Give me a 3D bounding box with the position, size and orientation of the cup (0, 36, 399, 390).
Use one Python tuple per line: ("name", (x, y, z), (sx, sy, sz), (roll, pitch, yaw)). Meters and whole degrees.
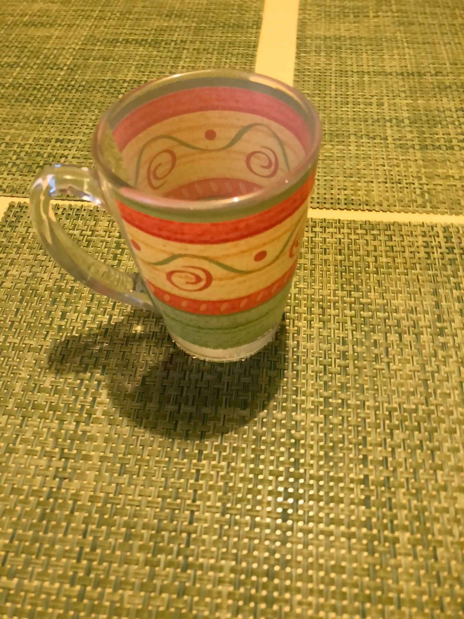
("cup", (-0.017, -0.036, 0.203), (0.120, 0.089, 0.091), (-6, 54, -3))
